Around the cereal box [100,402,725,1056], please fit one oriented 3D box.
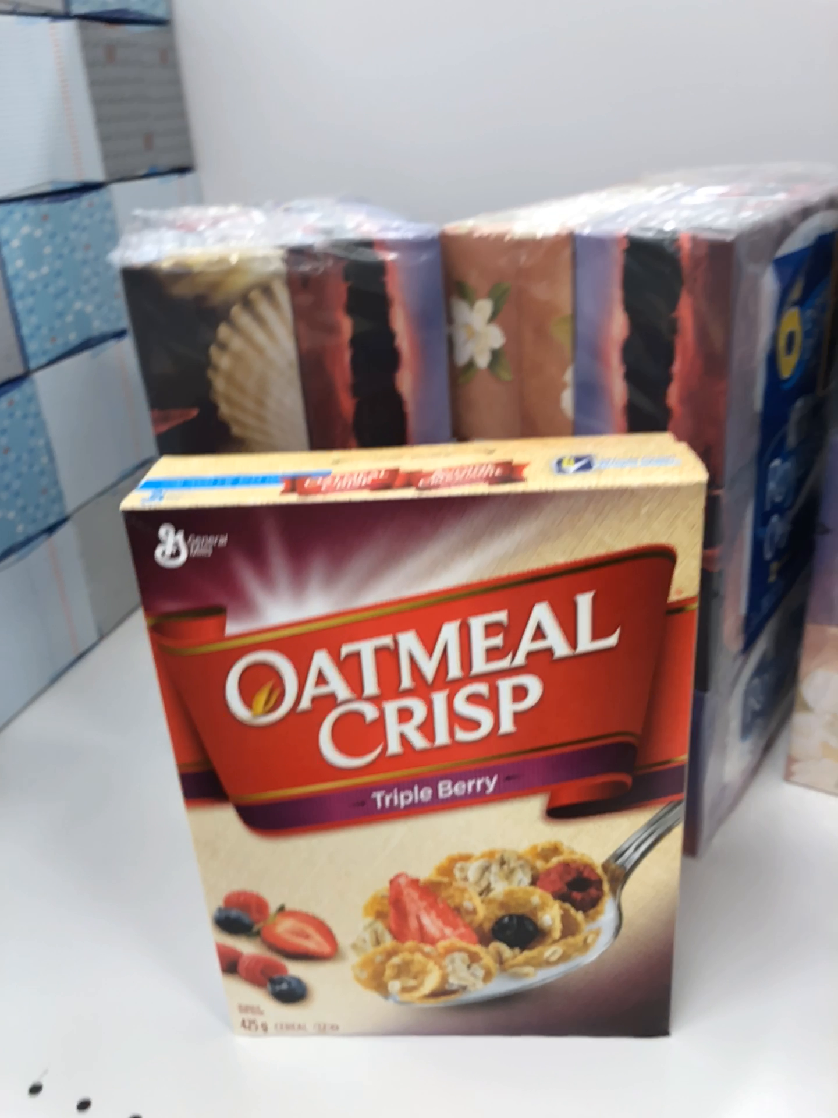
[{"bbox_3d":[0.006,0.080,0.383,0.200,0.269,0.060,-2,25,6],"label":"cereal box"}]
